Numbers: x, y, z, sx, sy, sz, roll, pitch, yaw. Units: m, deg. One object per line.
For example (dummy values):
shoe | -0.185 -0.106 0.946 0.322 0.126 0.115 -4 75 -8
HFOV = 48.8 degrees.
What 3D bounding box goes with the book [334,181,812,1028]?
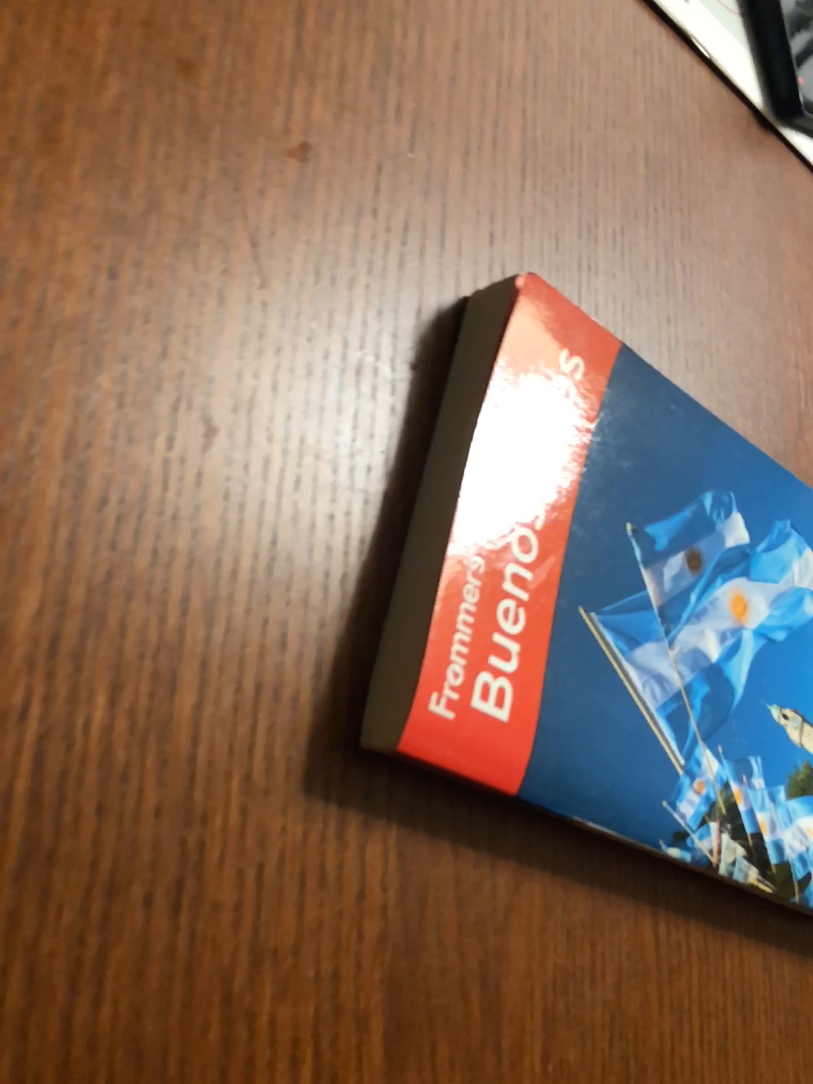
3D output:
book | 0.095 0.030 0.252 0.220 0.020 0.160 29 63 -30
